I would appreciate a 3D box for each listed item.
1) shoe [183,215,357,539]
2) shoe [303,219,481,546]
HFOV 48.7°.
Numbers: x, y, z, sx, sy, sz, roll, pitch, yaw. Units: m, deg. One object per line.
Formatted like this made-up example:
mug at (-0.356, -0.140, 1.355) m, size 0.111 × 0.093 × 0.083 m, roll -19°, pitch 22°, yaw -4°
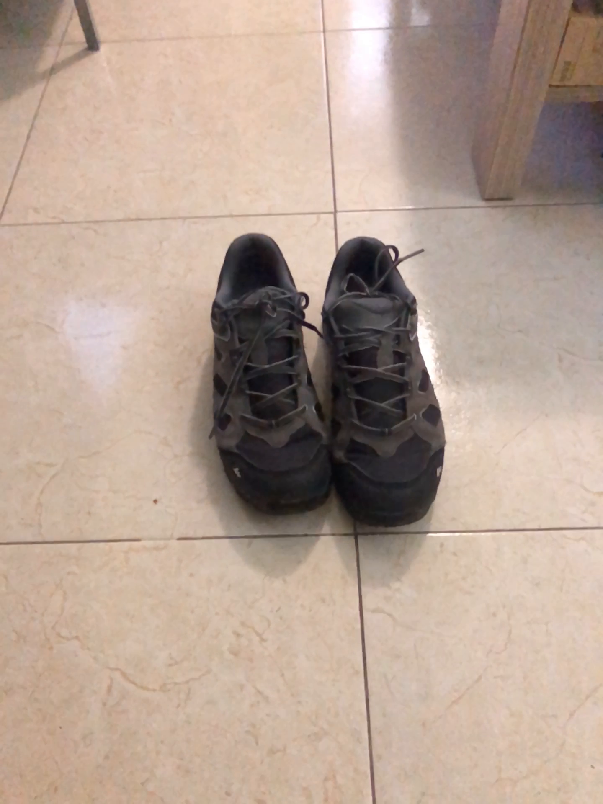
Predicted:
shoe at (-0.039, -0.036, 0.676) m, size 0.120 × 0.110 × 0.311 m, roll -9°, pitch 56°, yaw -4°
shoe at (0.074, -0.030, 0.659) m, size 0.120 × 0.110 × 0.311 m, roll -4°, pitch 55°, yaw 0°
